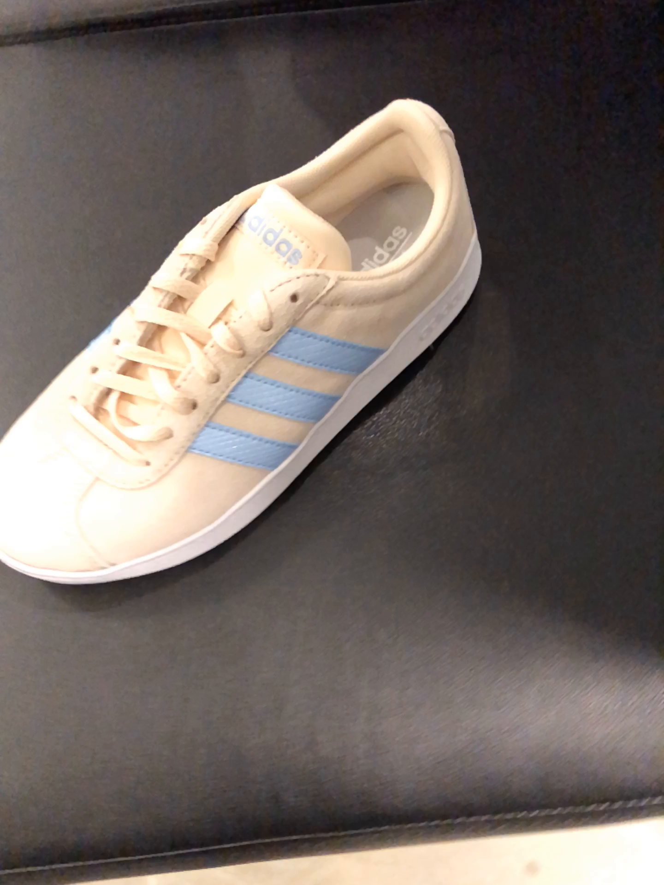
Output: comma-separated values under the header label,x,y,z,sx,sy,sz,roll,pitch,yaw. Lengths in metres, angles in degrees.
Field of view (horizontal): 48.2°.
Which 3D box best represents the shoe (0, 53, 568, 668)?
label,x,y,z,sx,sy,sz,roll,pitch,yaw
shoe,-0.037,-0.038,0.316,0.260,0.090,0.100,-39,71,-15
